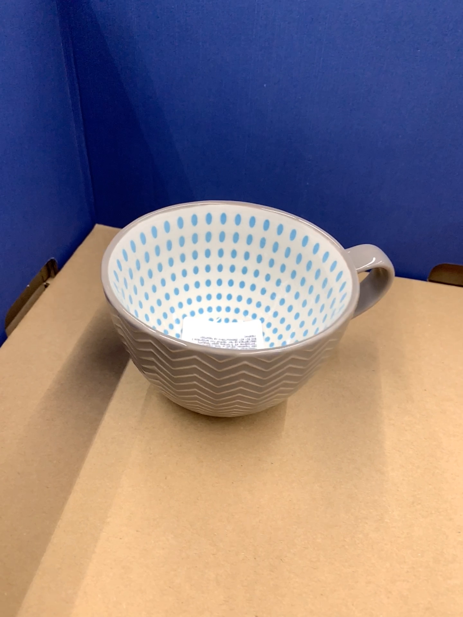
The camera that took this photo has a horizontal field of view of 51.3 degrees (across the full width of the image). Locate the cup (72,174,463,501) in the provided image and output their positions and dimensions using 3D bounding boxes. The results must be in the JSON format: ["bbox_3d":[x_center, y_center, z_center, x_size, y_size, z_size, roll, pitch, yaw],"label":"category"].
[{"bbox_3d":[0.014,-0.003,0.235,0.143,0.061,0.119,-17,43,-23],"label":"cup"}]
